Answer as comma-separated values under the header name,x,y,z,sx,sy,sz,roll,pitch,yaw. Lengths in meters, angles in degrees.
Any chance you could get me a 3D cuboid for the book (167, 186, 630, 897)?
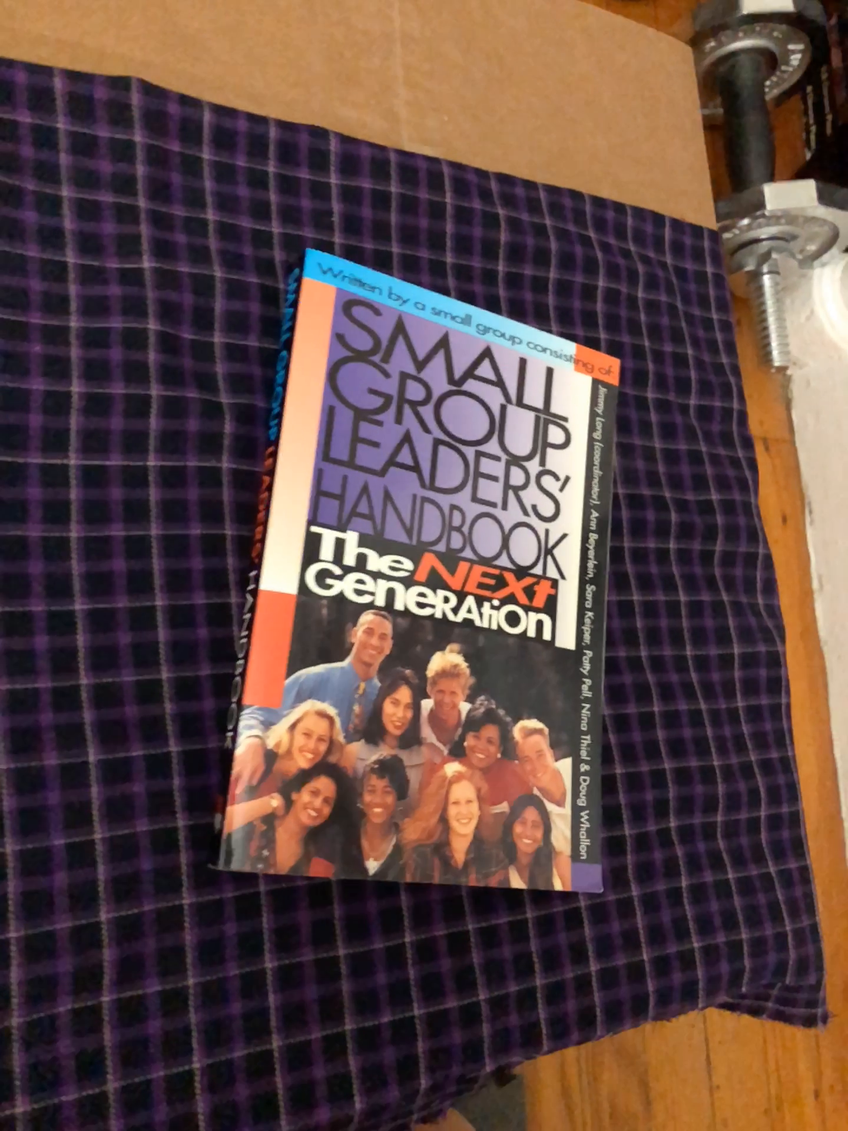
name,x,y,z,sx,sy,sz,roll,pitch,yaw
book,0.002,-0.003,0.326,0.150,0.030,0.220,9,75,-26
